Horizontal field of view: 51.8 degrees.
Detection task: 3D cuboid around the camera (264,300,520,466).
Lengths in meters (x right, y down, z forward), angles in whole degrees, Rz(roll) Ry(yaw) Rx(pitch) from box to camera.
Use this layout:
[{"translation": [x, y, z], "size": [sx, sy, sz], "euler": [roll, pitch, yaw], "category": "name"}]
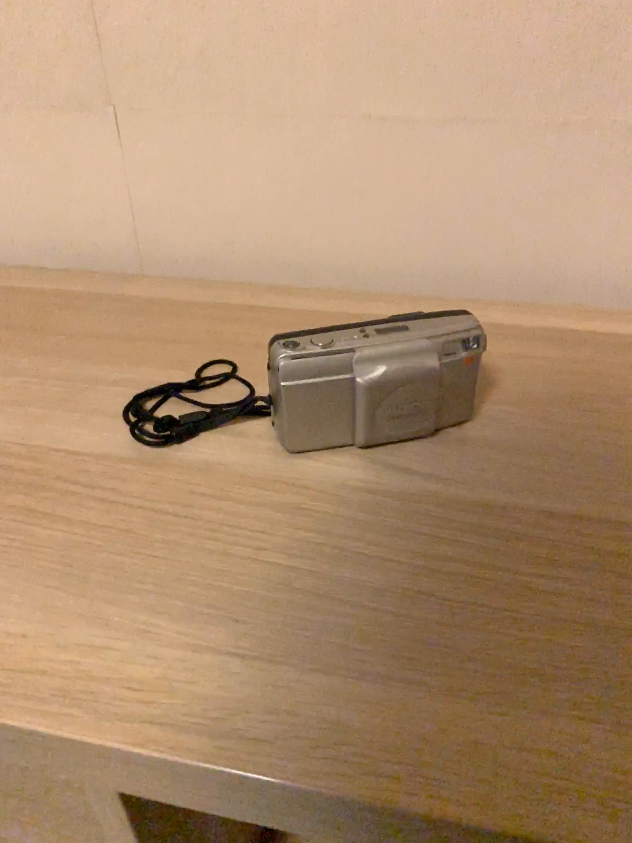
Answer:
[{"translation": [0.039, -0.023, 0.358], "size": [0.126, 0.059, 0.046], "euler": [-9, 35, -11], "category": "camera"}]
